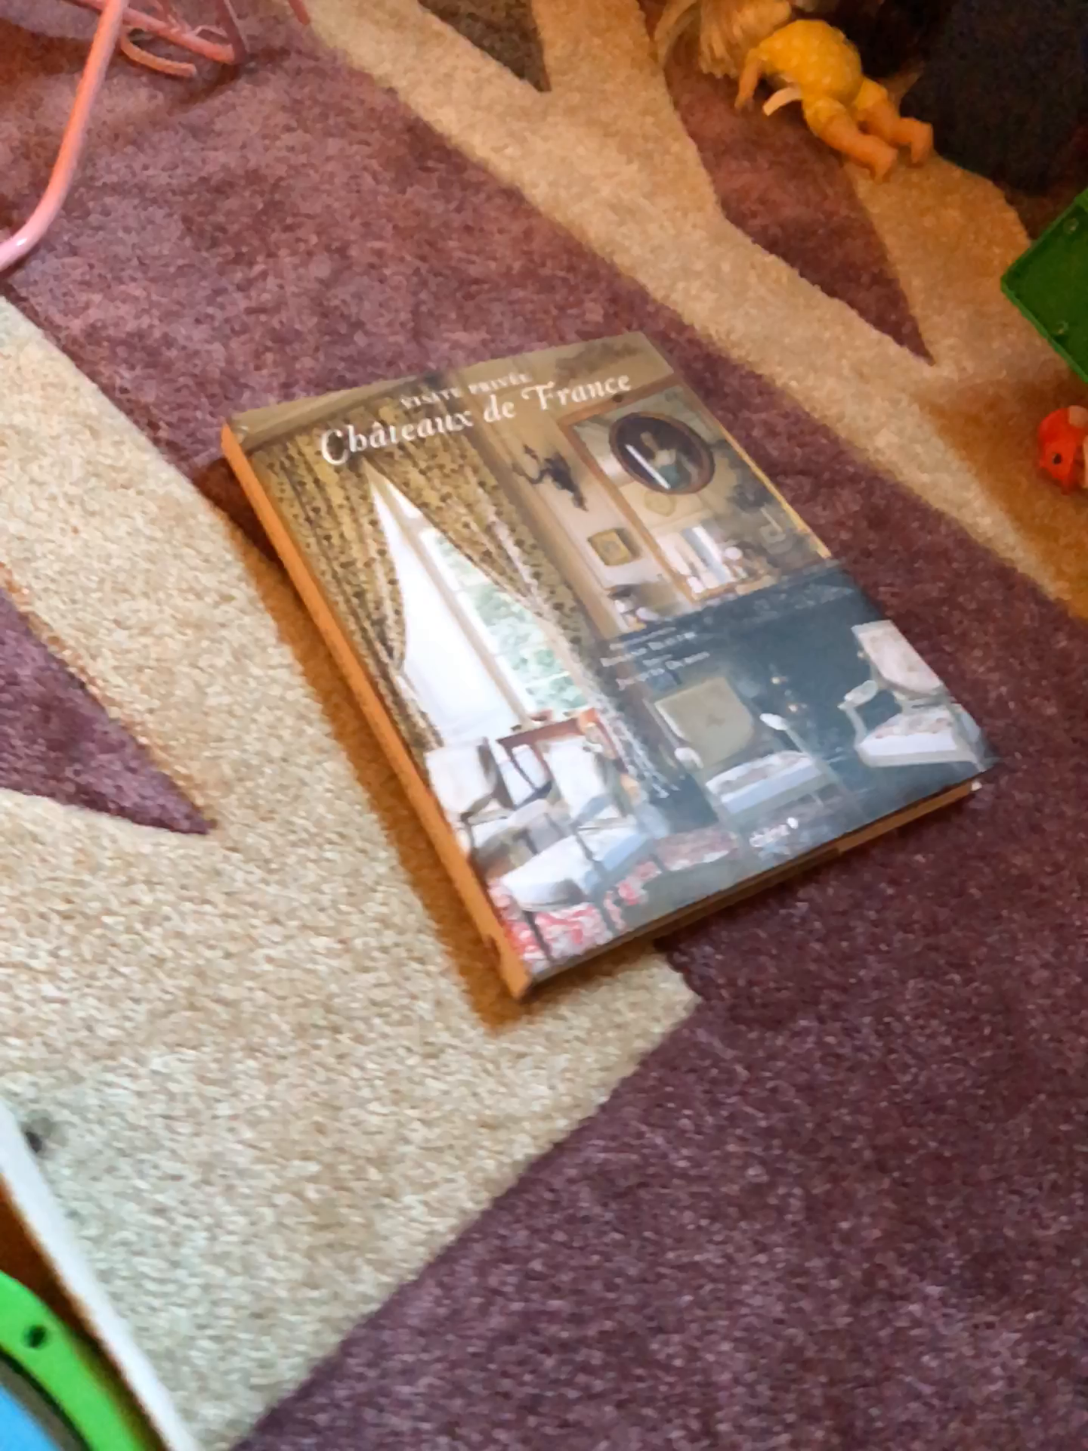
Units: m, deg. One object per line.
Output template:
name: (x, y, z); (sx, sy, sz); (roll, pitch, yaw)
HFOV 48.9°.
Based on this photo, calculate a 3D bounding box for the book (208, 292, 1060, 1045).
book: (0.028, -0.061, 0.566); (0.261, 0.050, 0.340); (-19, 61, -24)
